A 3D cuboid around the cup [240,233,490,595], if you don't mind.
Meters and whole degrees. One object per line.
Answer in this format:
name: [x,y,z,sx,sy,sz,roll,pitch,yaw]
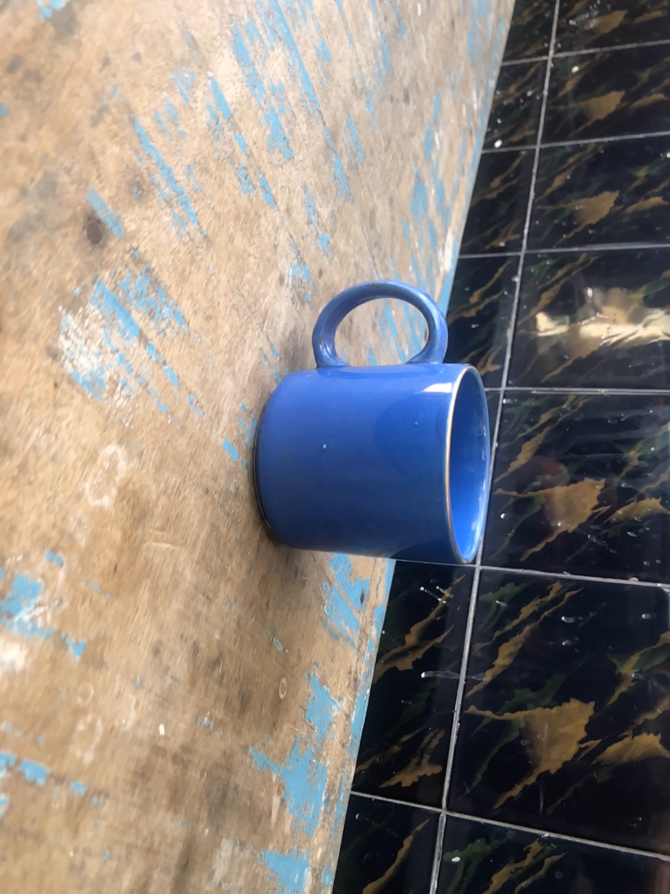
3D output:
cup: [0.014,-0.011,0.272,0.070,0.070,0.110,-1,93,-69]
